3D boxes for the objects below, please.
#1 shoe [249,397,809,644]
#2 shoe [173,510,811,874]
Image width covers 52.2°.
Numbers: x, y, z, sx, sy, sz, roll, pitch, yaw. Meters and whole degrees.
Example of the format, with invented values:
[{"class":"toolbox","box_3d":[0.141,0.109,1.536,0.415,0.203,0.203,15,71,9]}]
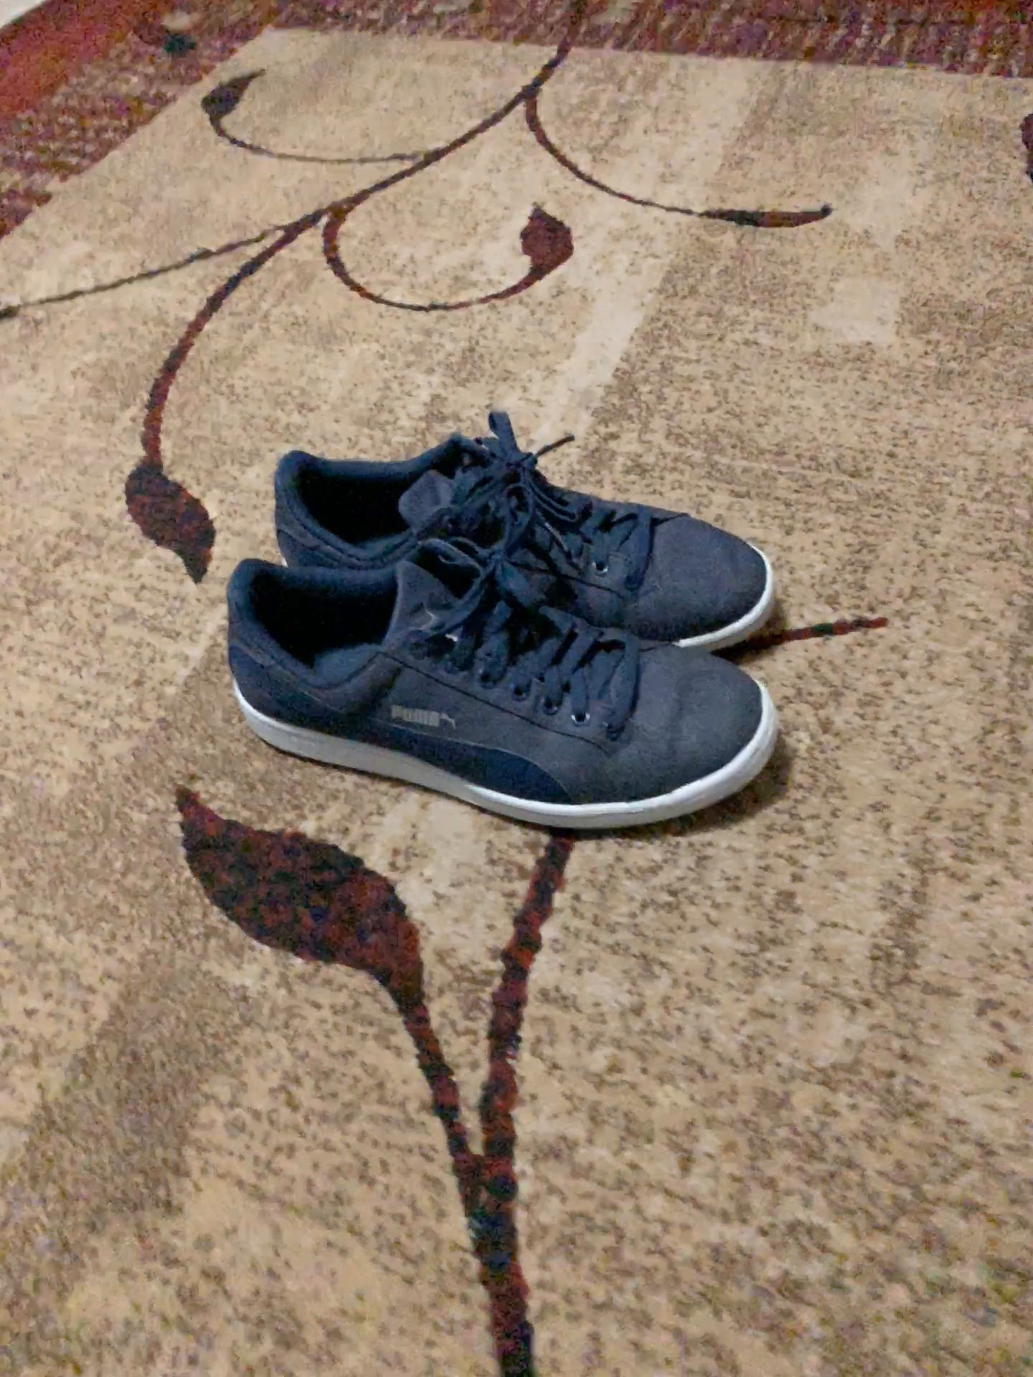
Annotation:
[{"class":"shoe","box_3d":[0.009,-0.094,0.562,0.274,0.050,0.100,8,52,11]},{"class":"shoe","box_3d":[-0.007,-0.003,0.516,0.274,0.090,0.107,9,52,12]}]
